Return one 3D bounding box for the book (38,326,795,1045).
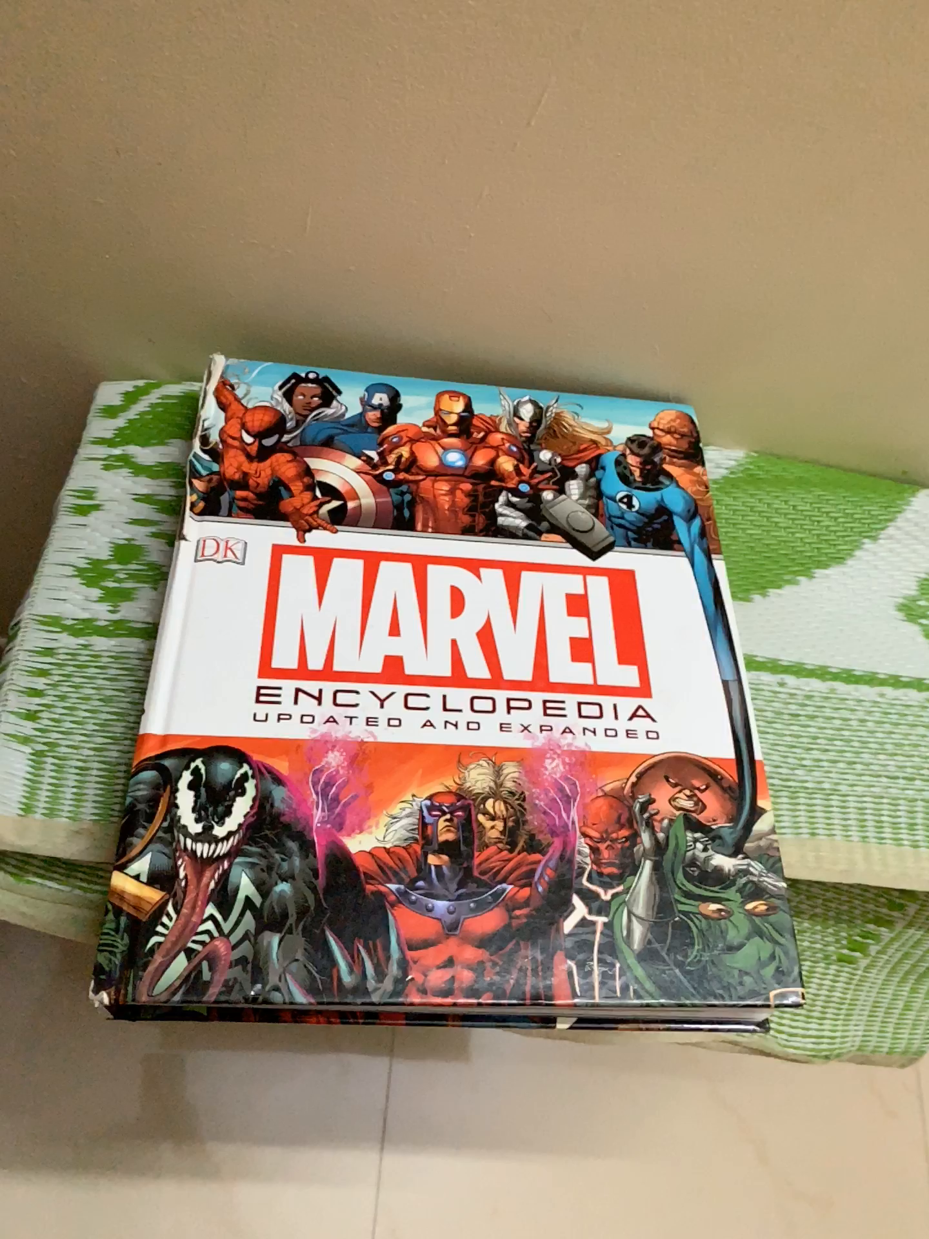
[{"bbox_3d":[-0.013,0.011,0.427,0.260,0.040,0.322,4,59,-8],"label":"book"}]
